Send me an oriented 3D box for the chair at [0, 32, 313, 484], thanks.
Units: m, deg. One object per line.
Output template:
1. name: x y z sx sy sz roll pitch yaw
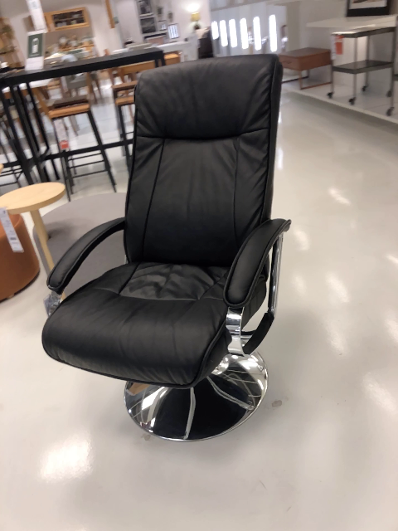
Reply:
1. chair: -0.107 -0.088 1.382 0.731 0.993 0.805 5 32 26
